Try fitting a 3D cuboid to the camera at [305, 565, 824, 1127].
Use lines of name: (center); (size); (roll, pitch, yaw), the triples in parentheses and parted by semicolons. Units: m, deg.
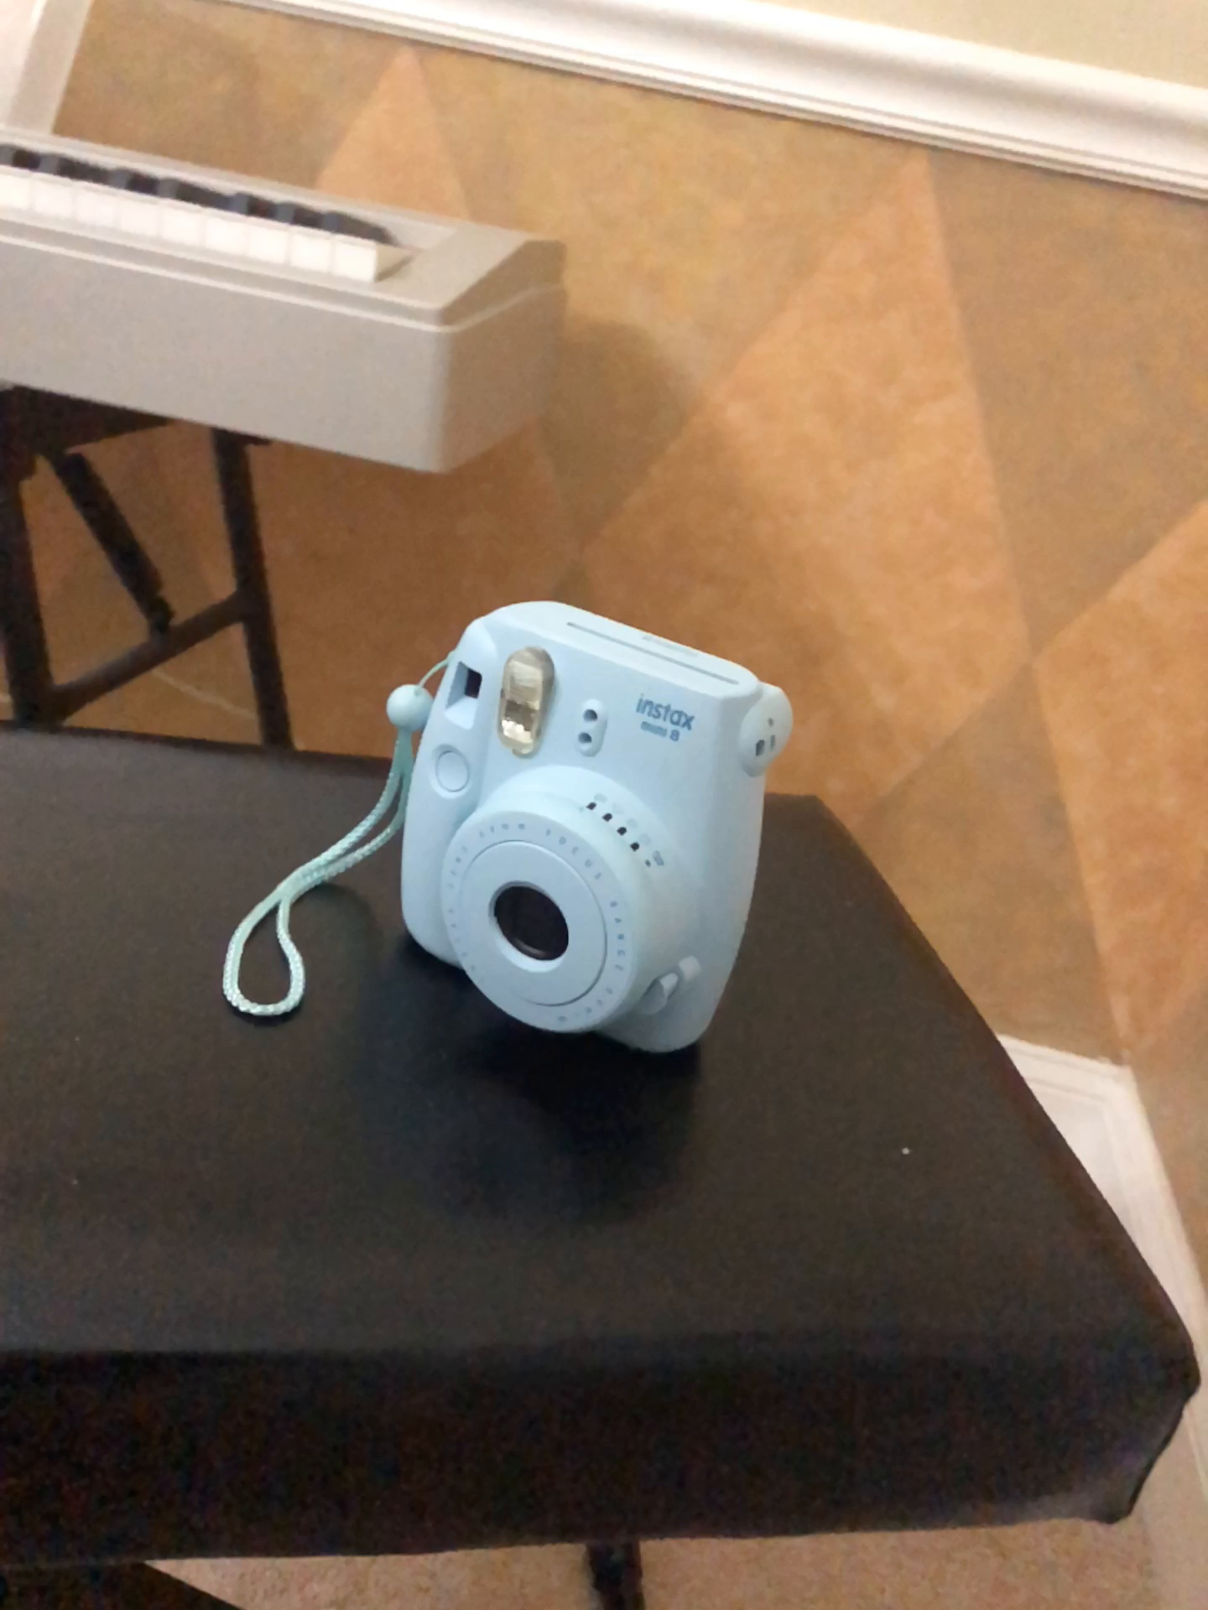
camera: (-0.016, 0.007, 0.402); (0.120, 0.118, 0.068); (23, 26, 23)
